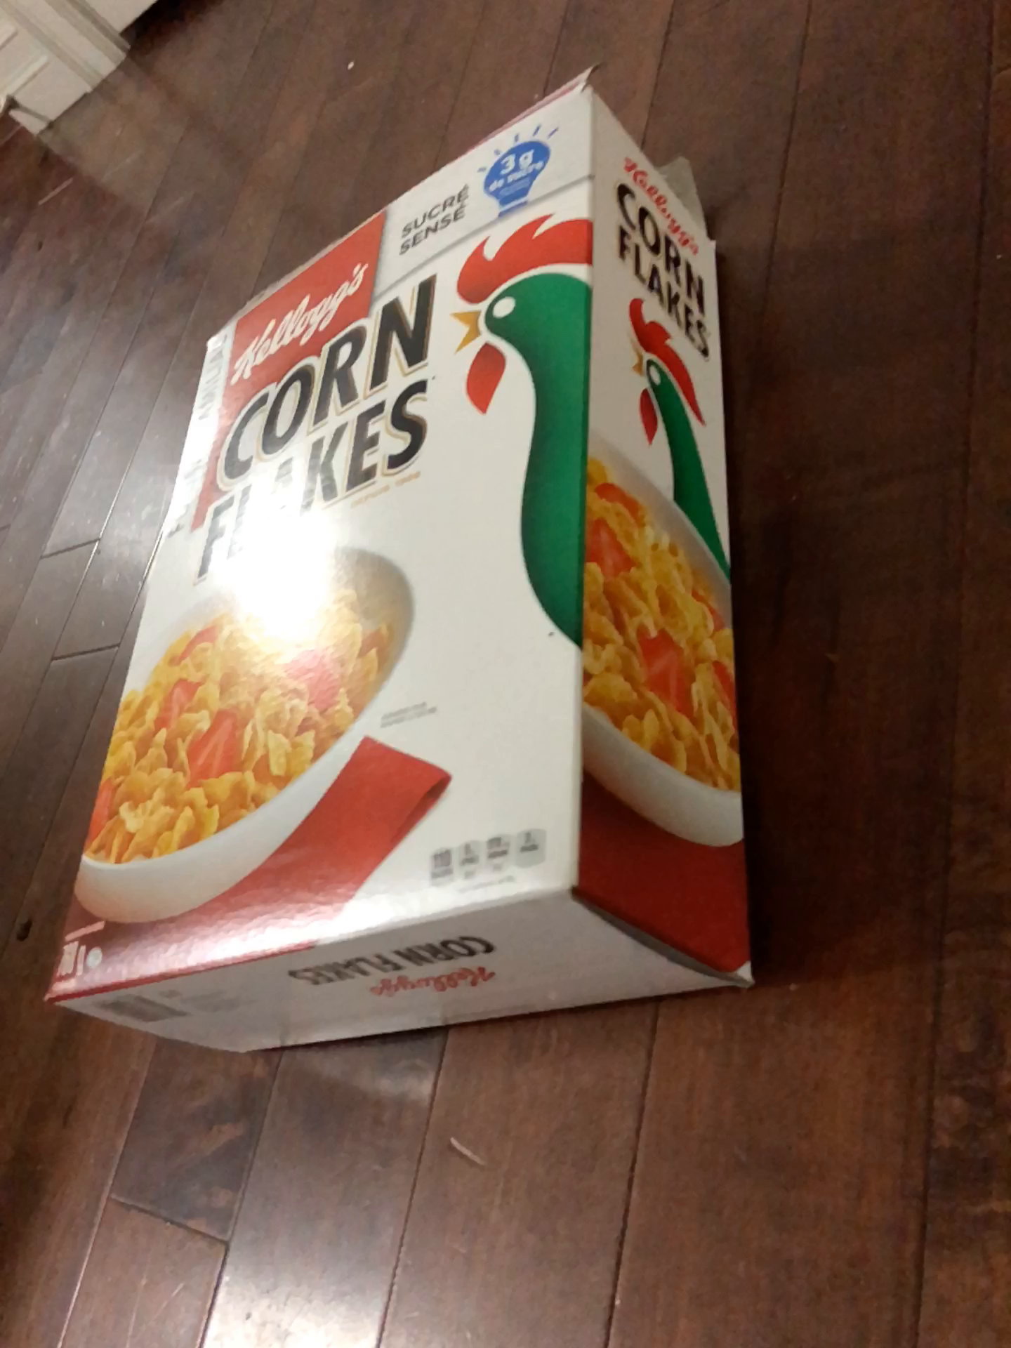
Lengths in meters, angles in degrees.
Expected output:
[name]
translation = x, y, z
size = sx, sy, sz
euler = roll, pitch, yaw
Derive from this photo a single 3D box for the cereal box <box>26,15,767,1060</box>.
[cereal box]
translation = -0.044, -0.053, 0.472
size = 0.261, 0.090, 0.380
euler = -20, 54, 34
